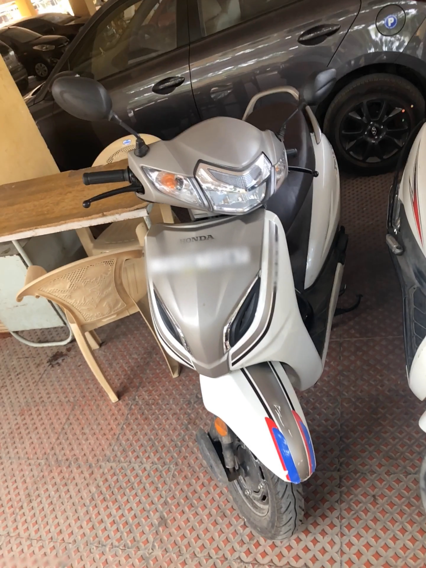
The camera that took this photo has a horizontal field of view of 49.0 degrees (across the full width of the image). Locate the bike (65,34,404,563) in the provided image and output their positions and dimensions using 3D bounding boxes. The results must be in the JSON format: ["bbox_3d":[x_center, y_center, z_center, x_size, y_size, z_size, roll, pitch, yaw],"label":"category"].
[{"bbox_3d":[0.181,-0.069,1.644,0.626,0.850,1.463,-8,42,18],"label":"bike"}]
